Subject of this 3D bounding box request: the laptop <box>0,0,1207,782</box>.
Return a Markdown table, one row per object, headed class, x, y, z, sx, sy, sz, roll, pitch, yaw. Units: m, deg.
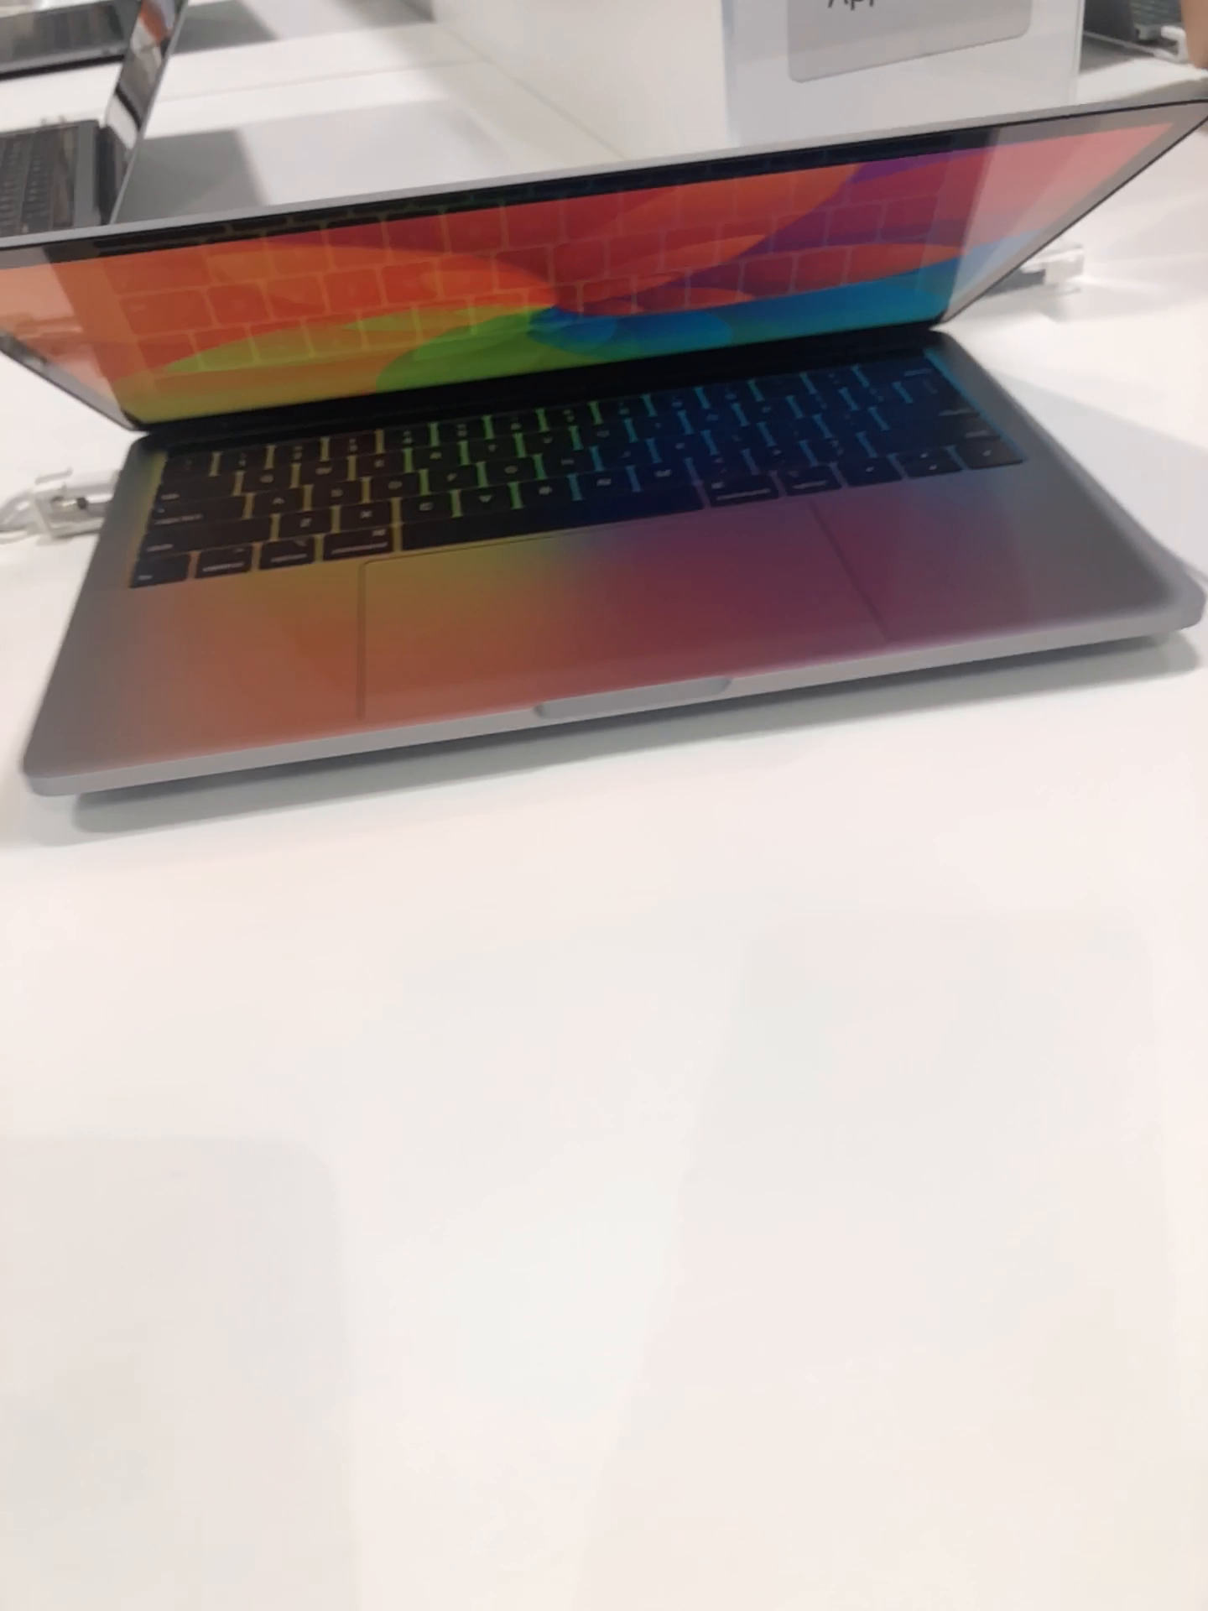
| class | x | y | z | sx | sy | sz | roll | pitch | yaw |
| --- | --- | --- | --- | --- | --- | --- | --- | --- | --- |
| laptop | -0.010 | -0.134 | 0.374 | 0.296 | 0.109 | 0.211 | -9 | 38 | -3 |
